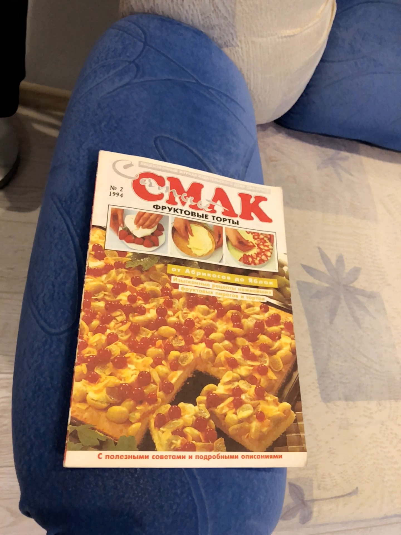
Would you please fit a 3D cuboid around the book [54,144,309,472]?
[{"bbox_3d":[-0.005,0.025,0.336,0.172,0.010,0.236,8,67,-17],"label":"book"}]
